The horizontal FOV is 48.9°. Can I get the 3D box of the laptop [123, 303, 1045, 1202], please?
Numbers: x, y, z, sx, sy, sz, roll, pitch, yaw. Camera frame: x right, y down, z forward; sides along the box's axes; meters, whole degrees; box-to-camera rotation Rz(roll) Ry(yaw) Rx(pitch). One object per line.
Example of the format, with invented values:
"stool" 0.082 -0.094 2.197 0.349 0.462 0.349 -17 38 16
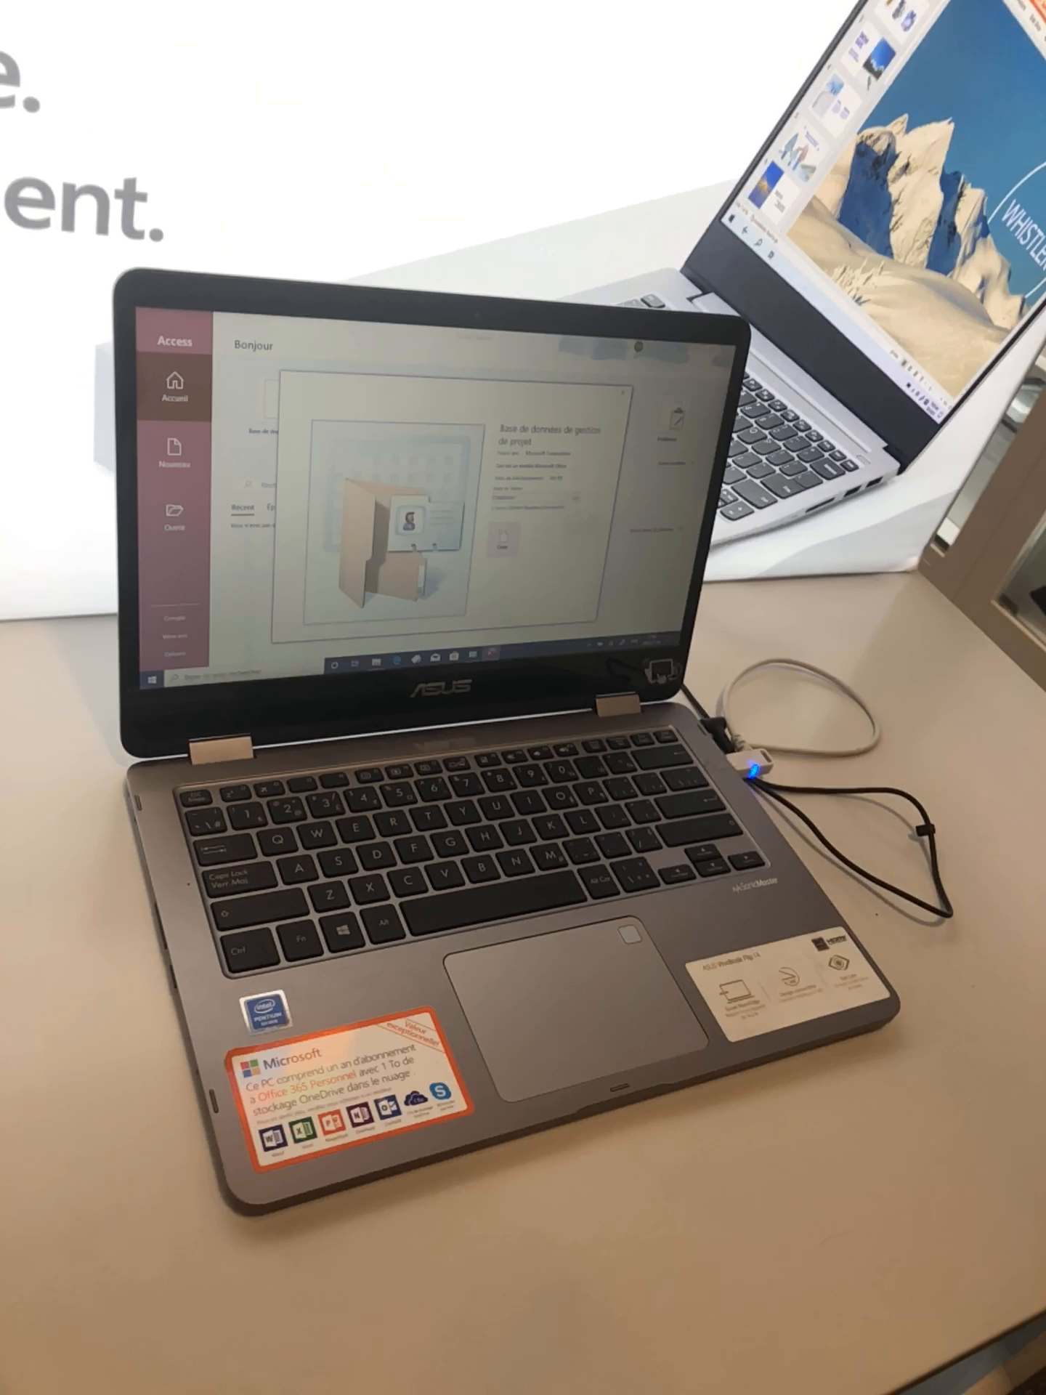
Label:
"laptop" 0.014 -0.005 0.505 0.312 0.214 0.273 -6 43 -28
